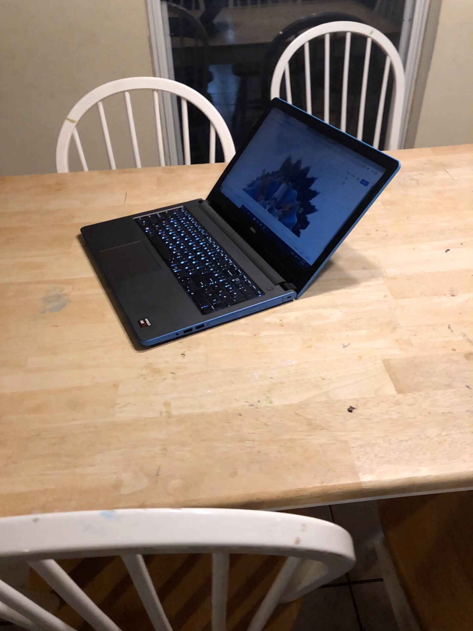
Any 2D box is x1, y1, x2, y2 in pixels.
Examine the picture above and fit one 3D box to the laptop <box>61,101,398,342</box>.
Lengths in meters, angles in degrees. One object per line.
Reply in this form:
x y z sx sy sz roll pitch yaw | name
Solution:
-0.028 -0.193 0.873 0.418 0.174 0.368 -18 41 -20 | laptop
